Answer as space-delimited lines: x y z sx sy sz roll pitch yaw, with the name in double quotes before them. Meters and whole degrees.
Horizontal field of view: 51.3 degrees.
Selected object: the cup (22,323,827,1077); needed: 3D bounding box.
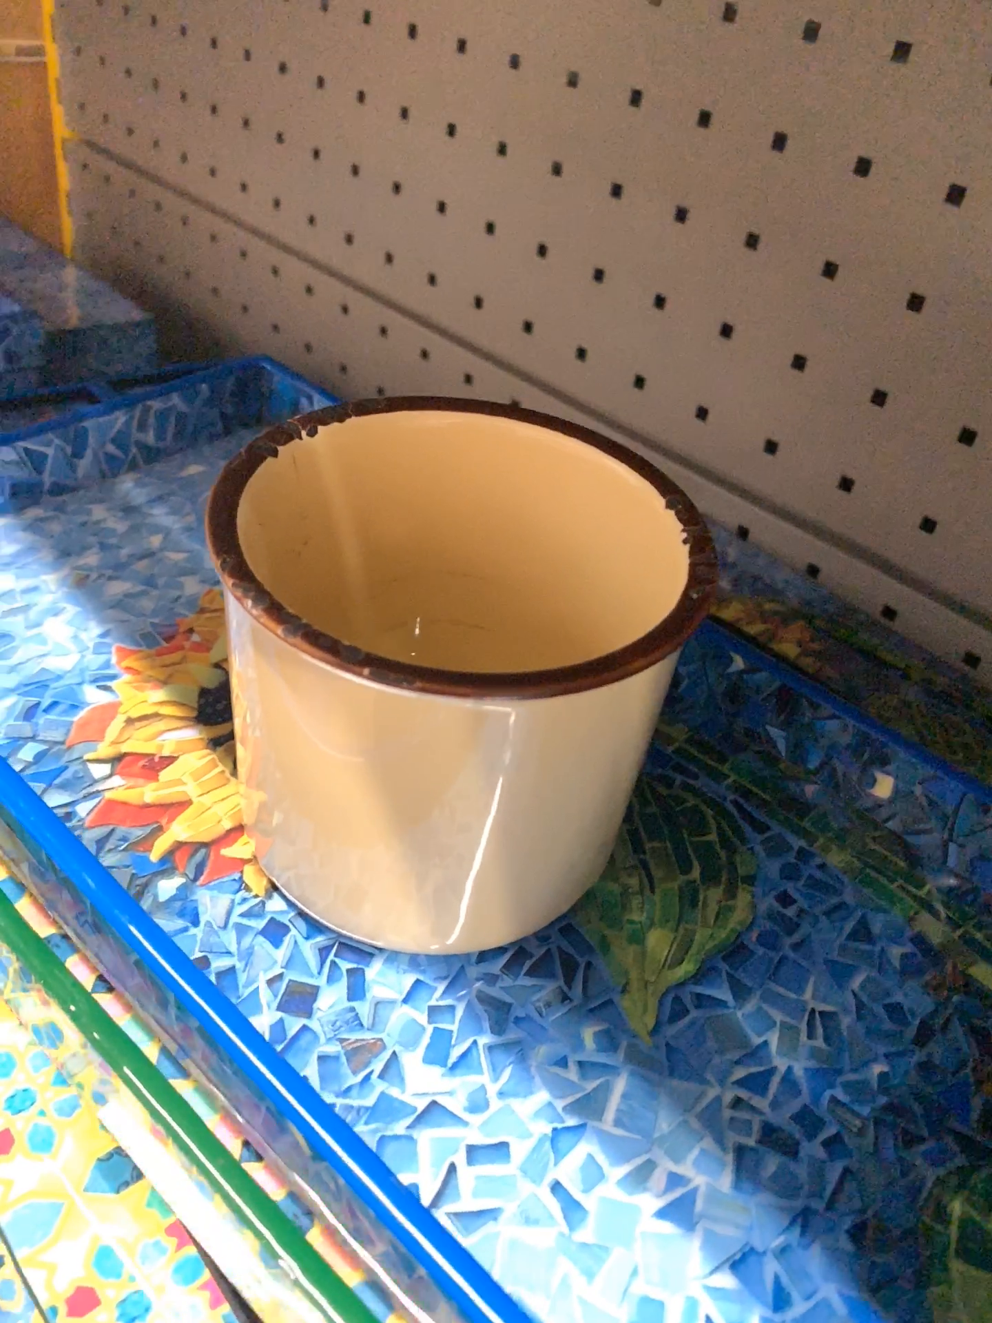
"cup" -0.018 -0.005 0.200 0.090 0.070 0.110 -25 50 -38
